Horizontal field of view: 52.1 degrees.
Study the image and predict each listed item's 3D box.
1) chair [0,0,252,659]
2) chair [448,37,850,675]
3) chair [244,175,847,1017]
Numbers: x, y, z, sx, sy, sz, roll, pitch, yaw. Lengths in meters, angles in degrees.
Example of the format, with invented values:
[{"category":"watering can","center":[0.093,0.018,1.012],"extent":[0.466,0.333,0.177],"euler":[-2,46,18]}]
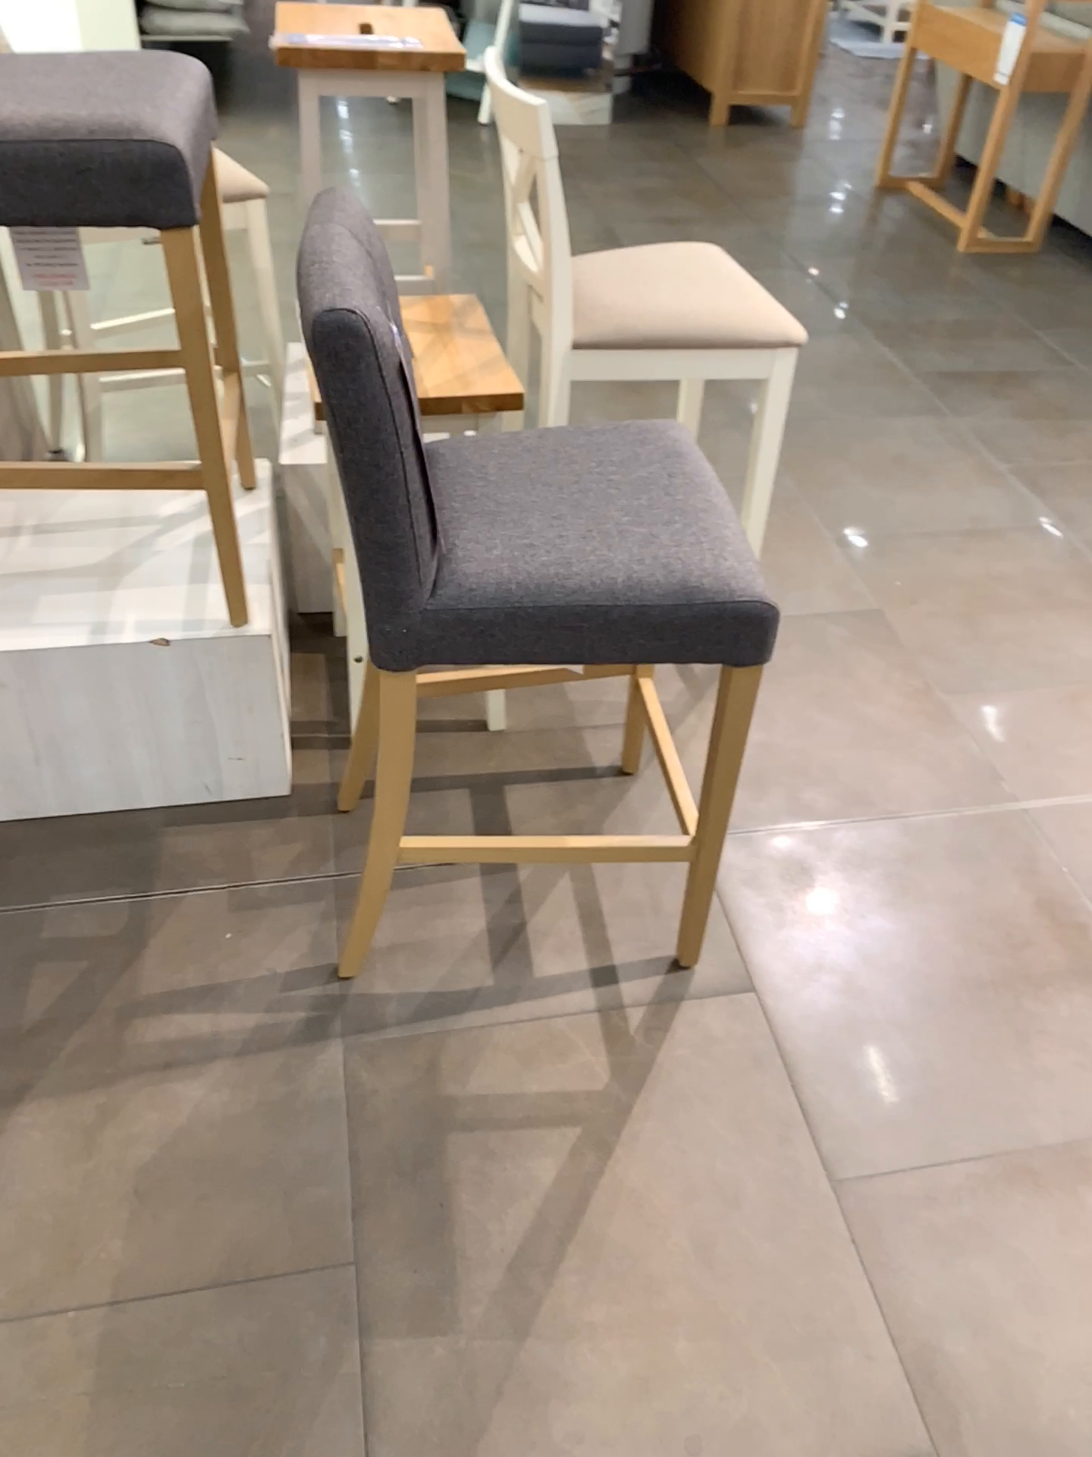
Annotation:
[{"category":"chair","center":[-0.713,-0.645,1.438],"extent":[0.538,0.918,0.551],"euler":[-5,41,-10]},{"category":"chair","center":[0.110,-0.645,2.007],"extent":[0.498,0.938,0.511],"euler":[-5,41,-10]},{"category":"chair","center":[-0.052,-0.143,1.419],"extent":[0.518,0.908,0.491],"euler":[-5,41,-9]}]
